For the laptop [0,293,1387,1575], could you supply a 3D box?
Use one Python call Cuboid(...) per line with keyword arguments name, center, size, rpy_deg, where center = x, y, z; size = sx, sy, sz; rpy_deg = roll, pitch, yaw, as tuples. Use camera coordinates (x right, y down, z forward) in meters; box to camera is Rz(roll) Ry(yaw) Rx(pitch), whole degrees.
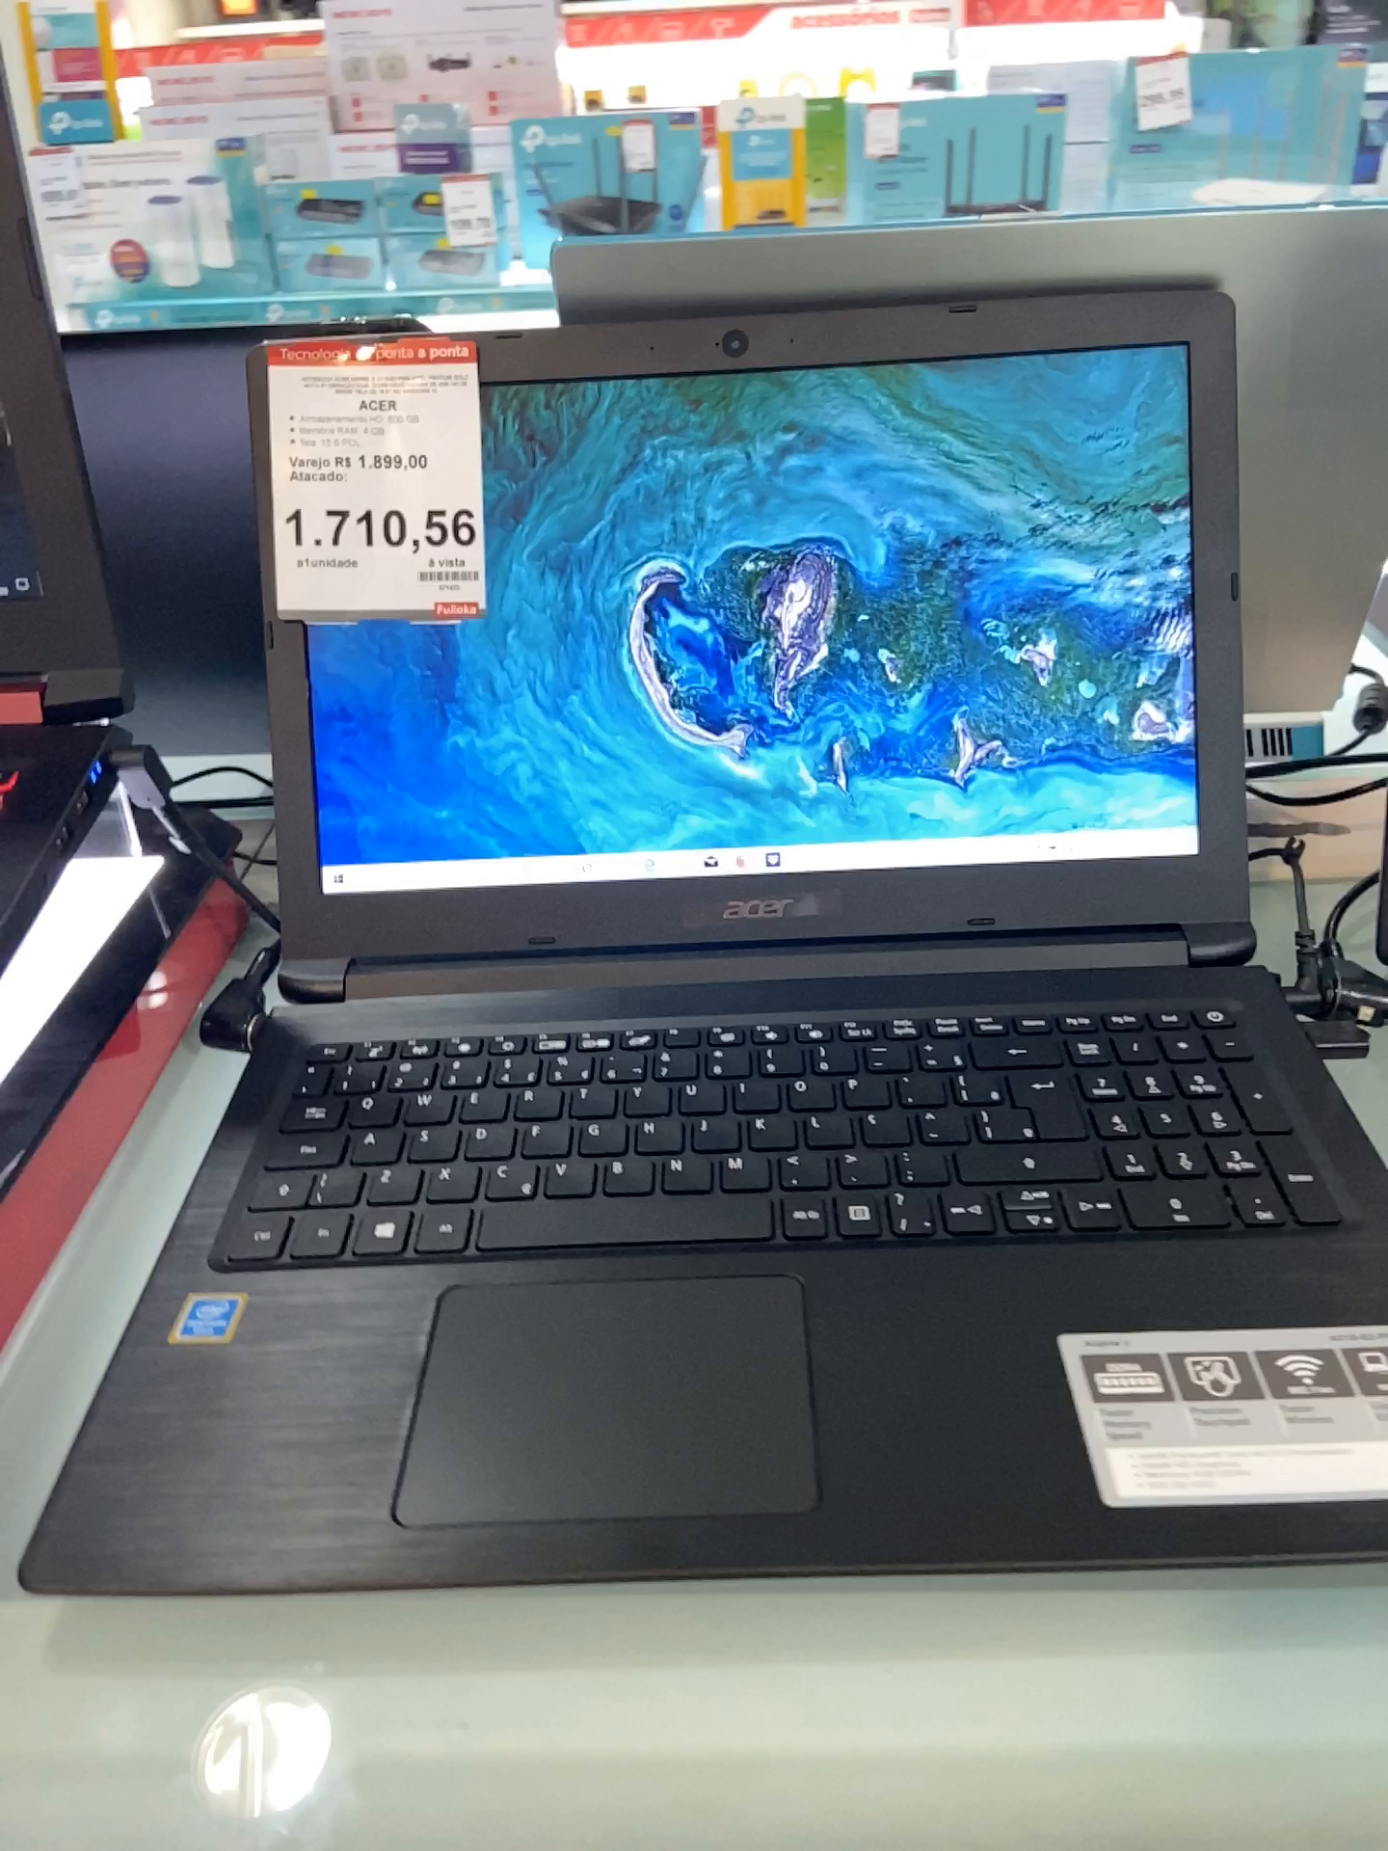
Cuboid(name="laptop", center=(0.017, -0.043, 0.446), size=(0.376, 0.216, 0.382), rpy_deg=(-2, 31, 2))
